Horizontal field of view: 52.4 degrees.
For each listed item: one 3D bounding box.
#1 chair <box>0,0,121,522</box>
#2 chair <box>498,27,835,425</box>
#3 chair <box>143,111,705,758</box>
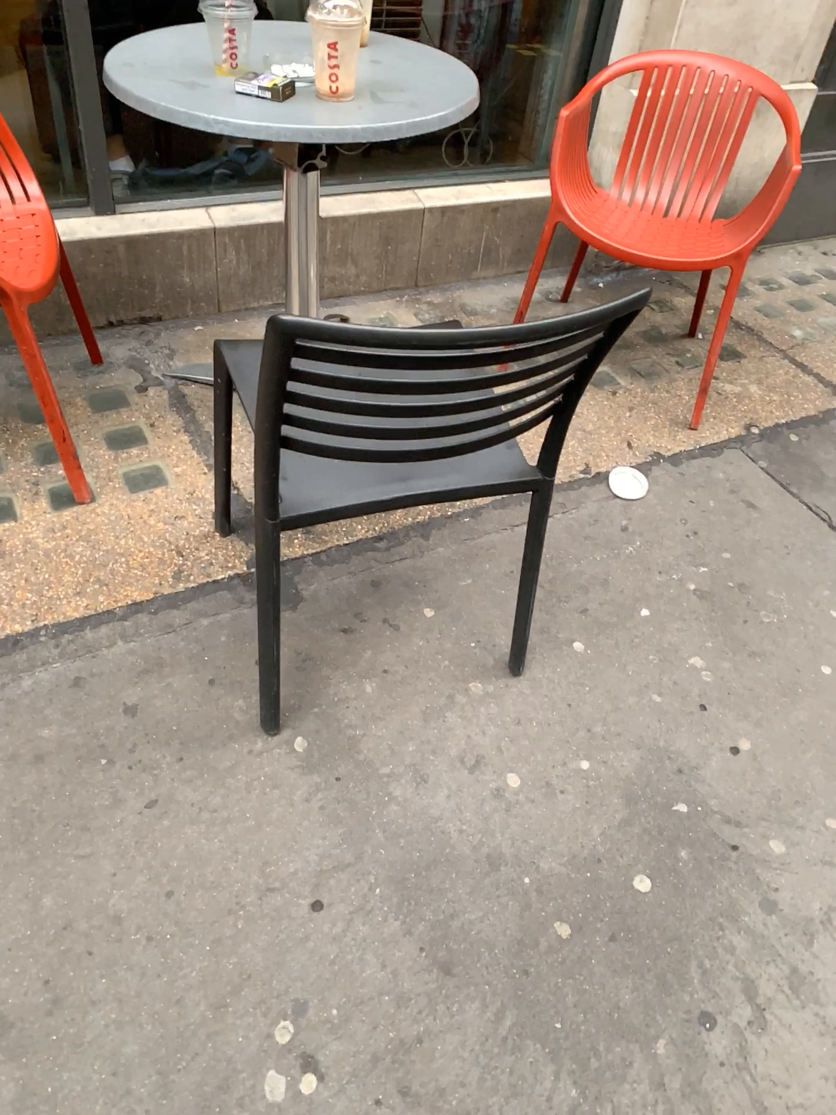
[{"bbox_3d":[-0.959,-0.562,1.651,0.640,0.743,0.575,-5,44,-15],"label":"chair"},{"bbox_3d":[0.711,-0.977,2.469,0.641,0.772,0.706,20,44,12],"label":"chair"},{"bbox_3d":[-0.066,-0.214,1.372,0.551,0.753,0.605,-12,46,-21],"label":"chair"}]
